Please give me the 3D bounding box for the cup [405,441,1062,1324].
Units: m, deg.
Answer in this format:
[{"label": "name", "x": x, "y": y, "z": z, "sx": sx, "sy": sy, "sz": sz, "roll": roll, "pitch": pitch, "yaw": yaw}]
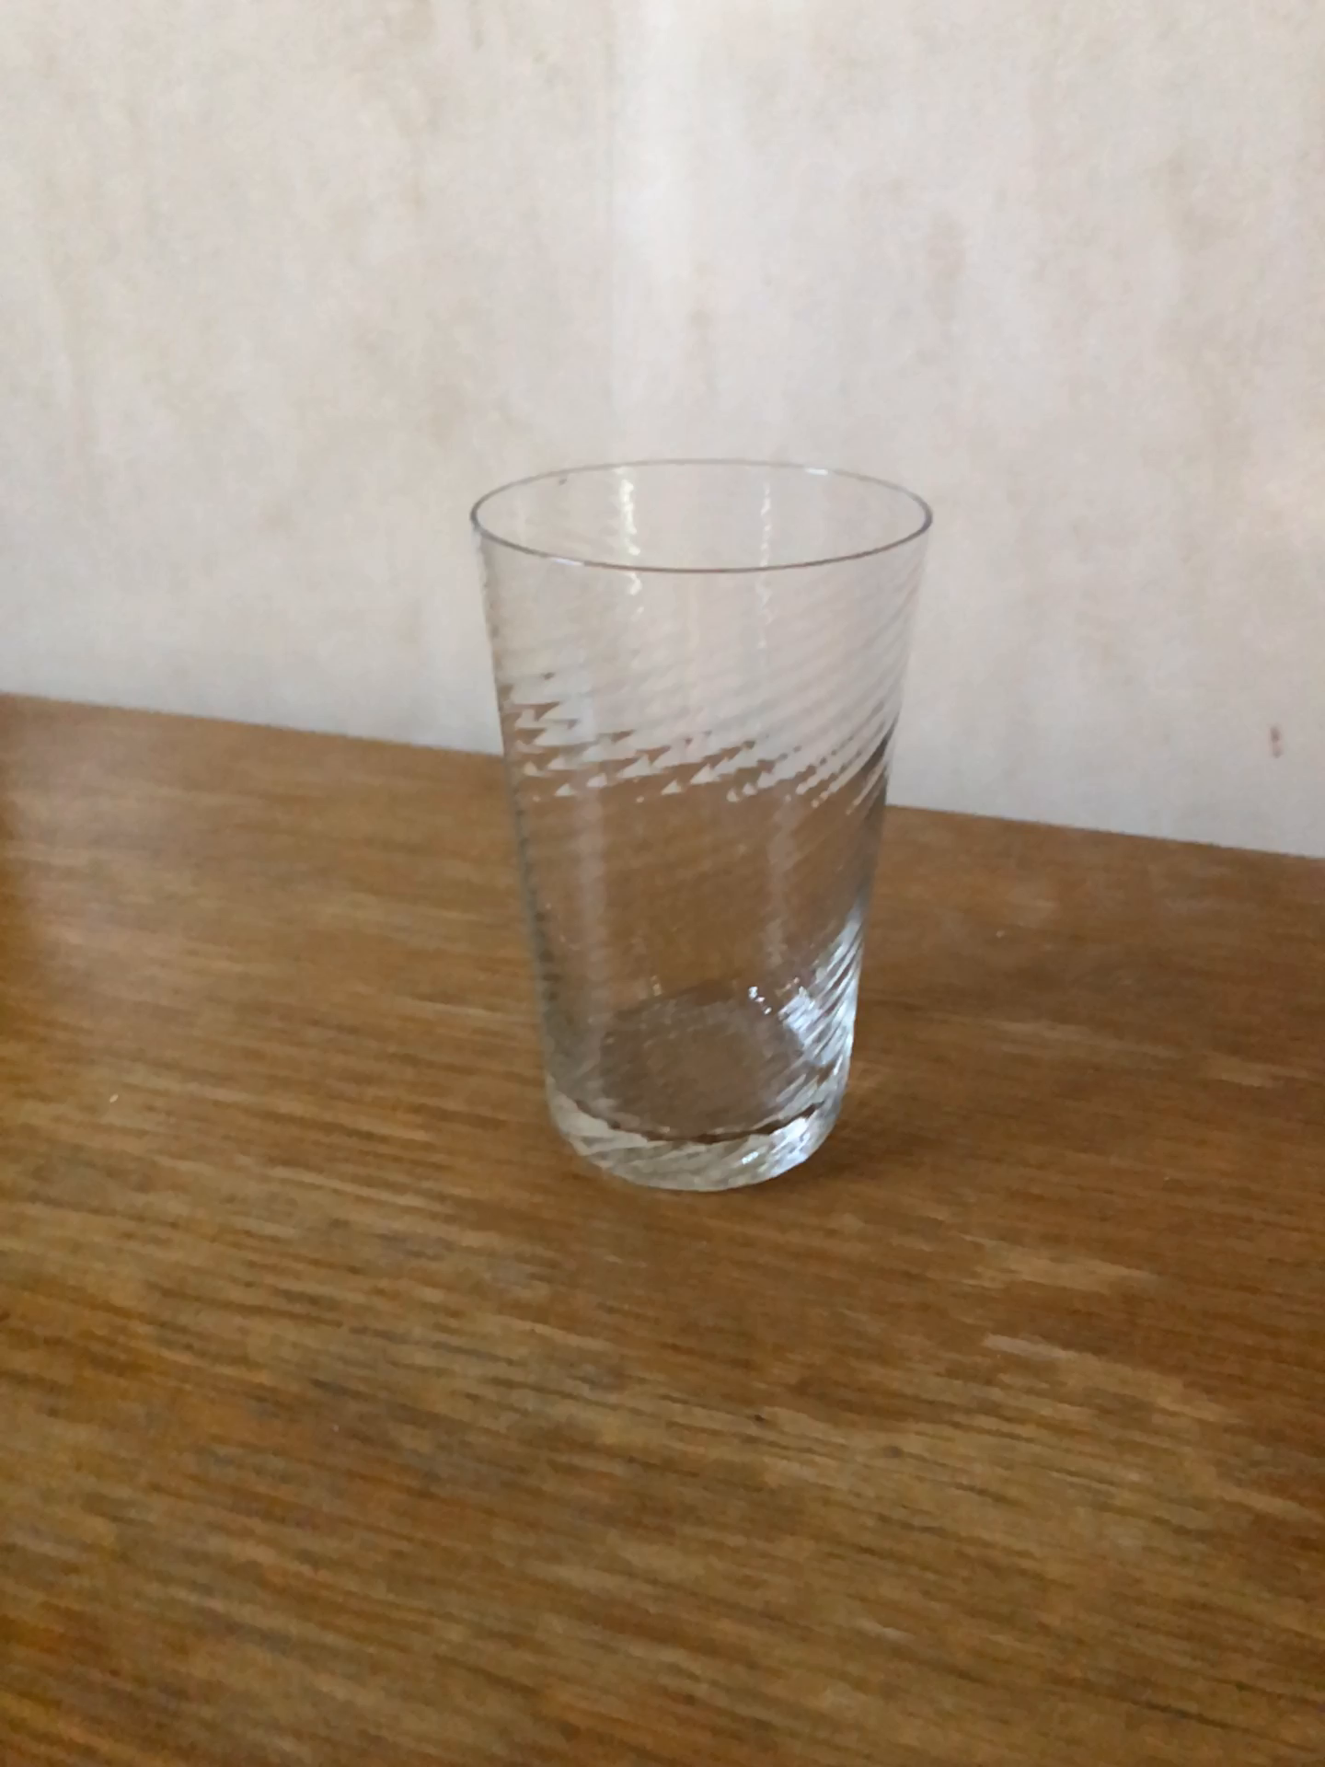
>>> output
[{"label": "cup", "x": 0.012, "y": -0.007, "z": 0.259, "sx": 0.070, "sy": 0.119, "sz": 0.080, "roll": 20, "pitch": 31, "yaw": 34}]
